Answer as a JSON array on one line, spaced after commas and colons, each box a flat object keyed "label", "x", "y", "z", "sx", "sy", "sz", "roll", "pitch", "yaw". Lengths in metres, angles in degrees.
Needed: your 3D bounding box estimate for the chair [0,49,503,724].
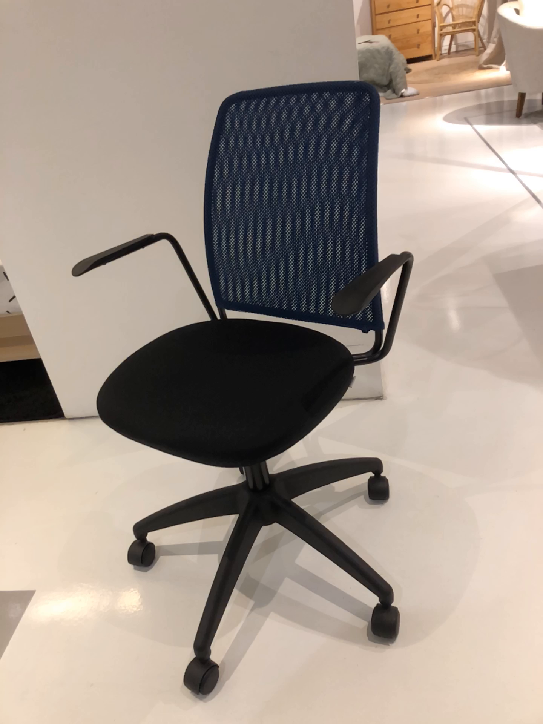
[{"label": "chair", "x": -0.049, "y": 0.041, "z": 1.074, "sx": 0.662, "sy": 0.923, "sz": 0.703, "roll": 13, "pitch": 38, "yaw": 35}]
